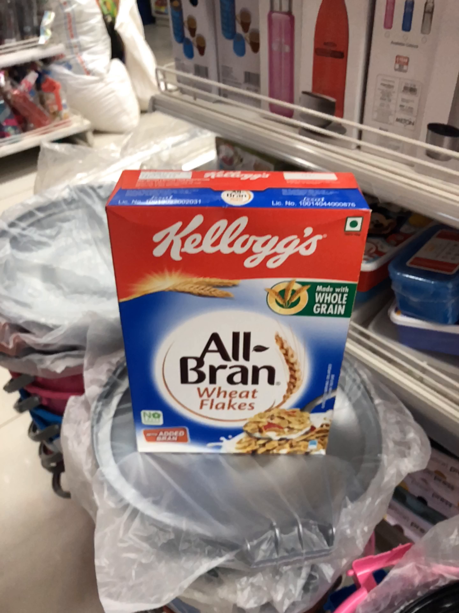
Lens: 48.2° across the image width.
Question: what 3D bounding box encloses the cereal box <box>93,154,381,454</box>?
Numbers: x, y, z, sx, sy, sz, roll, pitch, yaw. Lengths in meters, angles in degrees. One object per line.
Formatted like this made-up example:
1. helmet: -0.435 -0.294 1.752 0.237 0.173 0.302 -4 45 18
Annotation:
1. cereal box: 0.006 0.012 0.447 0.190 0.269 0.070 1 36 1
